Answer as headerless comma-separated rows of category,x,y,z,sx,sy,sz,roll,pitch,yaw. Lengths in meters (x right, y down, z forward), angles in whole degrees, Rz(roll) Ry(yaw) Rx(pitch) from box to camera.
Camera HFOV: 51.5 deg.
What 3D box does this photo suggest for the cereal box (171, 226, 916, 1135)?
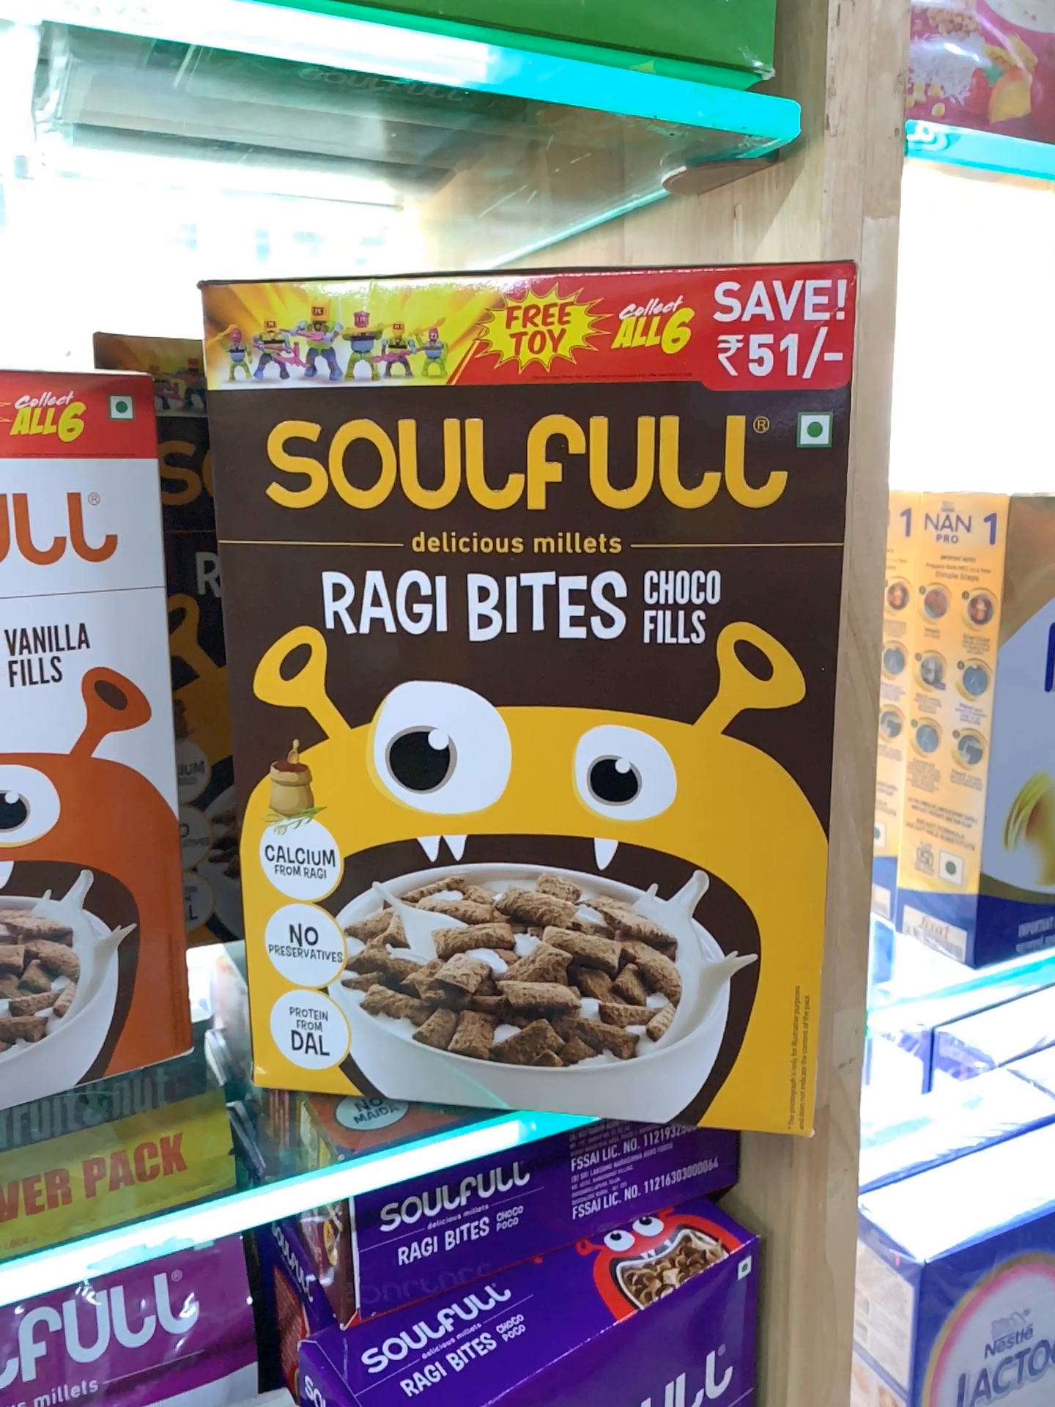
cereal box,0.005,-0.005,0.328,0.190,0.239,0.060,2,12,10
